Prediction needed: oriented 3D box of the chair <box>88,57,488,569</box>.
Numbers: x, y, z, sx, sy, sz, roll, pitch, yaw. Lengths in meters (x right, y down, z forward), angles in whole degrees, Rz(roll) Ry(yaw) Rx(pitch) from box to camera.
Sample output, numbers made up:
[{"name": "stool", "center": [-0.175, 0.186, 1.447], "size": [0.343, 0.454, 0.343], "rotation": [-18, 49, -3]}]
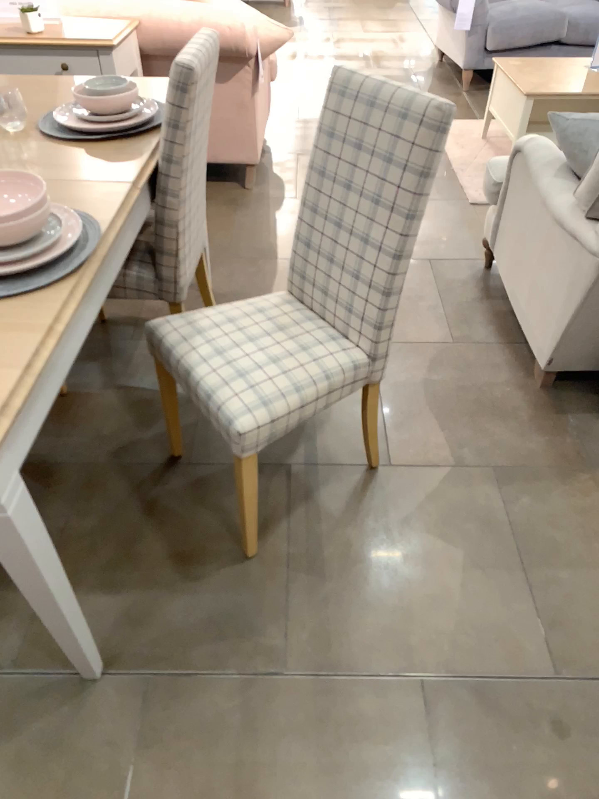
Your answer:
[{"name": "chair", "center": [-0.022, -0.174, 1.383], "size": [0.568, 0.937, 0.431], "rotation": [-27, 49, -27]}]
